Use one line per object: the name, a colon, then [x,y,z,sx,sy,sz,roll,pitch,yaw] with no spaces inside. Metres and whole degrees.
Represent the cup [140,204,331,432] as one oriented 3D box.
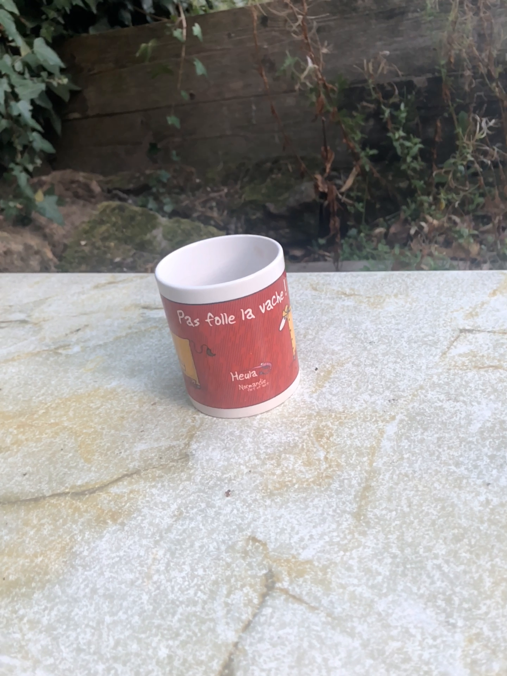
cup: [-0.016,-0.021,0.368,0.086,0.083,0.130,-15,32,-9]
